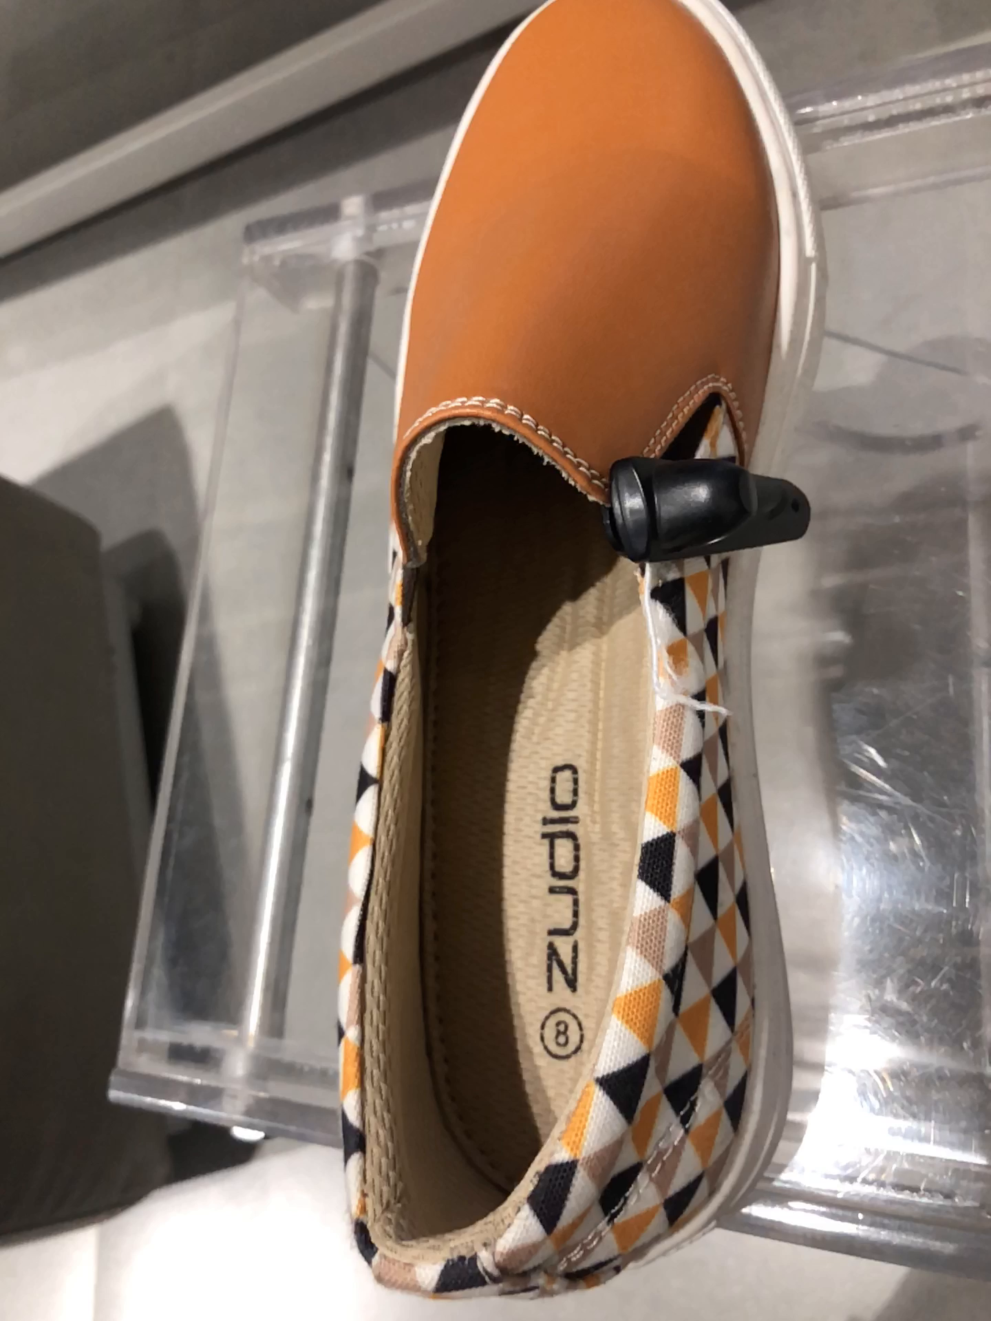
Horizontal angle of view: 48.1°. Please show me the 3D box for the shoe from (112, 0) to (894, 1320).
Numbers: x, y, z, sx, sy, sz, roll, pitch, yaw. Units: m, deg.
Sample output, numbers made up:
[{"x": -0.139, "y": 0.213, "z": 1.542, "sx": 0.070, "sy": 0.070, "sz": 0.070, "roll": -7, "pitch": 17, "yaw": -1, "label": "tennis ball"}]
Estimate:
[{"x": 0.016, "y": -0.025, "z": 0.239, "sx": 0.110, "sy": 0.100, "sz": 0.290, "roll": -4, "pitch": 73, "yaw": 26, "label": "shoe"}]
